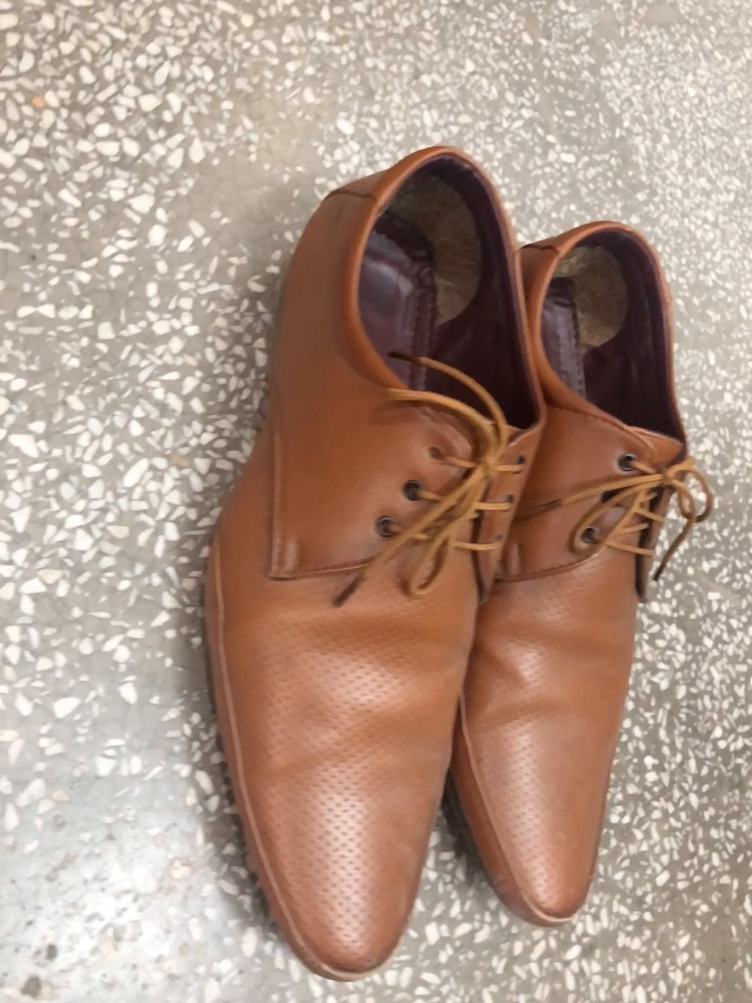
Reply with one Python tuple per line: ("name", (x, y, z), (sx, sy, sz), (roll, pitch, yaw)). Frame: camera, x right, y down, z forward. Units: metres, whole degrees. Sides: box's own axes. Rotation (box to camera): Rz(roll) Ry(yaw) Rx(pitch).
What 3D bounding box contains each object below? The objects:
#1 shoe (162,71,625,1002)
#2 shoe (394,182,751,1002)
("shoe", (0.004, 0.019, 0.310), (0.106, 0.118, 0.284), (10, 73, -30))
("shoe", (0.088, 0.035, 0.362), (0.106, 0.118, 0.284), (10, 73, -30))
